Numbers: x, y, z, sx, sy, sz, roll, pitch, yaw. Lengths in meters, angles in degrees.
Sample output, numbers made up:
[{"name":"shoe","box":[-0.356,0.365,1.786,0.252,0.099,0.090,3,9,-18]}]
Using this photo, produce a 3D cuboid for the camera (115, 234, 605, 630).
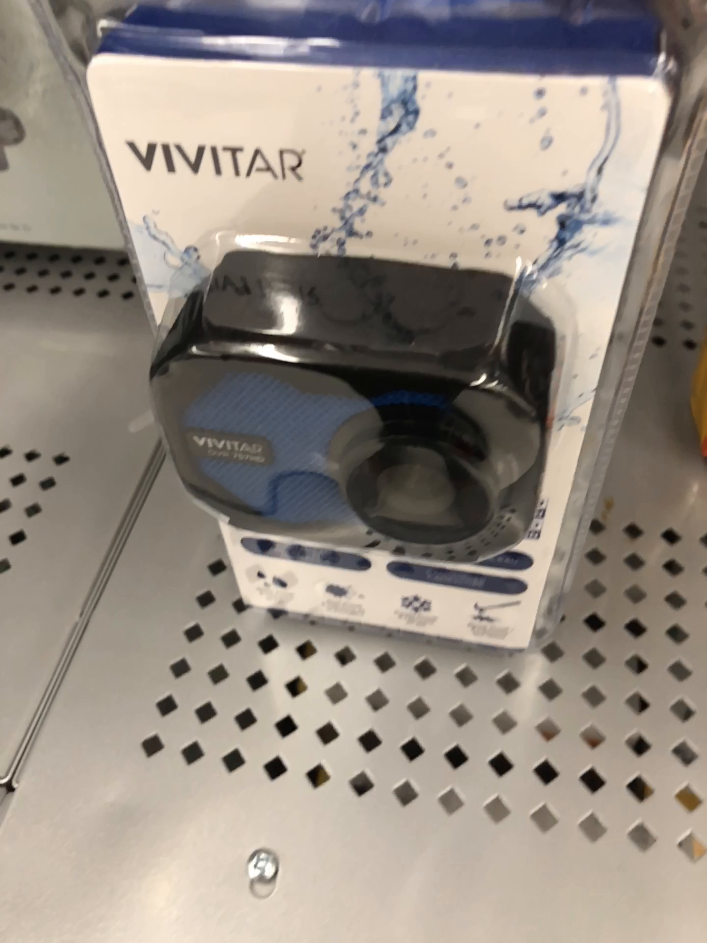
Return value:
[{"name":"camera","box":[0.004,-0.007,0.145,0.070,0.050,0.040,8,51,11]}]
